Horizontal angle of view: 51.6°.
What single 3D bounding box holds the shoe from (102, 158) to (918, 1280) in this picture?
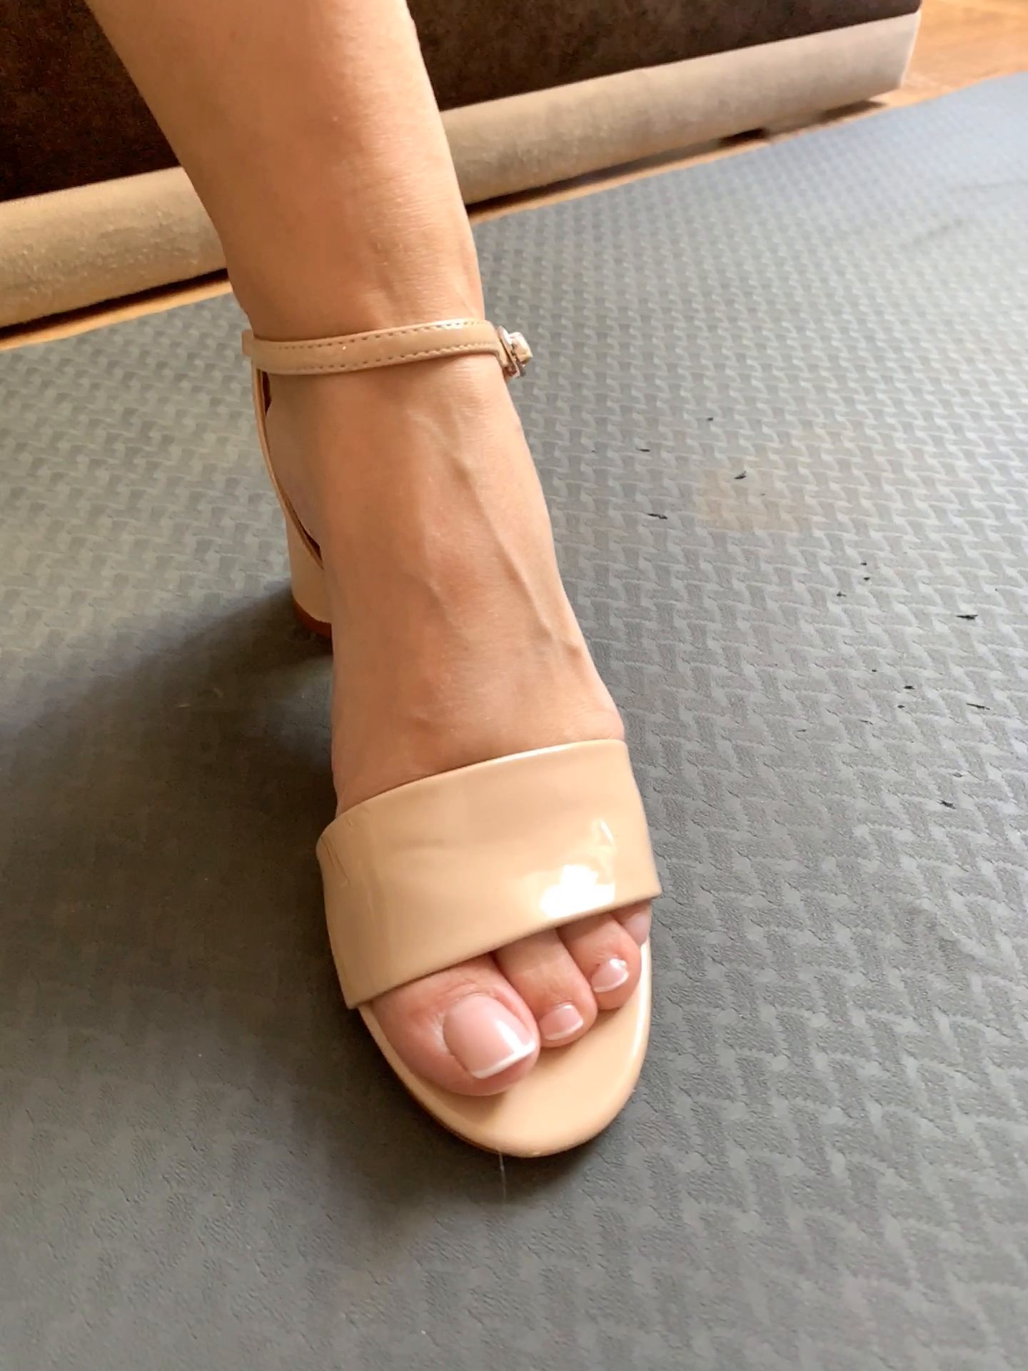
[{"bbox_3d":[-0.032,-0.024,0.256,0.090,0.119,0.251,-12,43,-15],"label":"shoe"}]
